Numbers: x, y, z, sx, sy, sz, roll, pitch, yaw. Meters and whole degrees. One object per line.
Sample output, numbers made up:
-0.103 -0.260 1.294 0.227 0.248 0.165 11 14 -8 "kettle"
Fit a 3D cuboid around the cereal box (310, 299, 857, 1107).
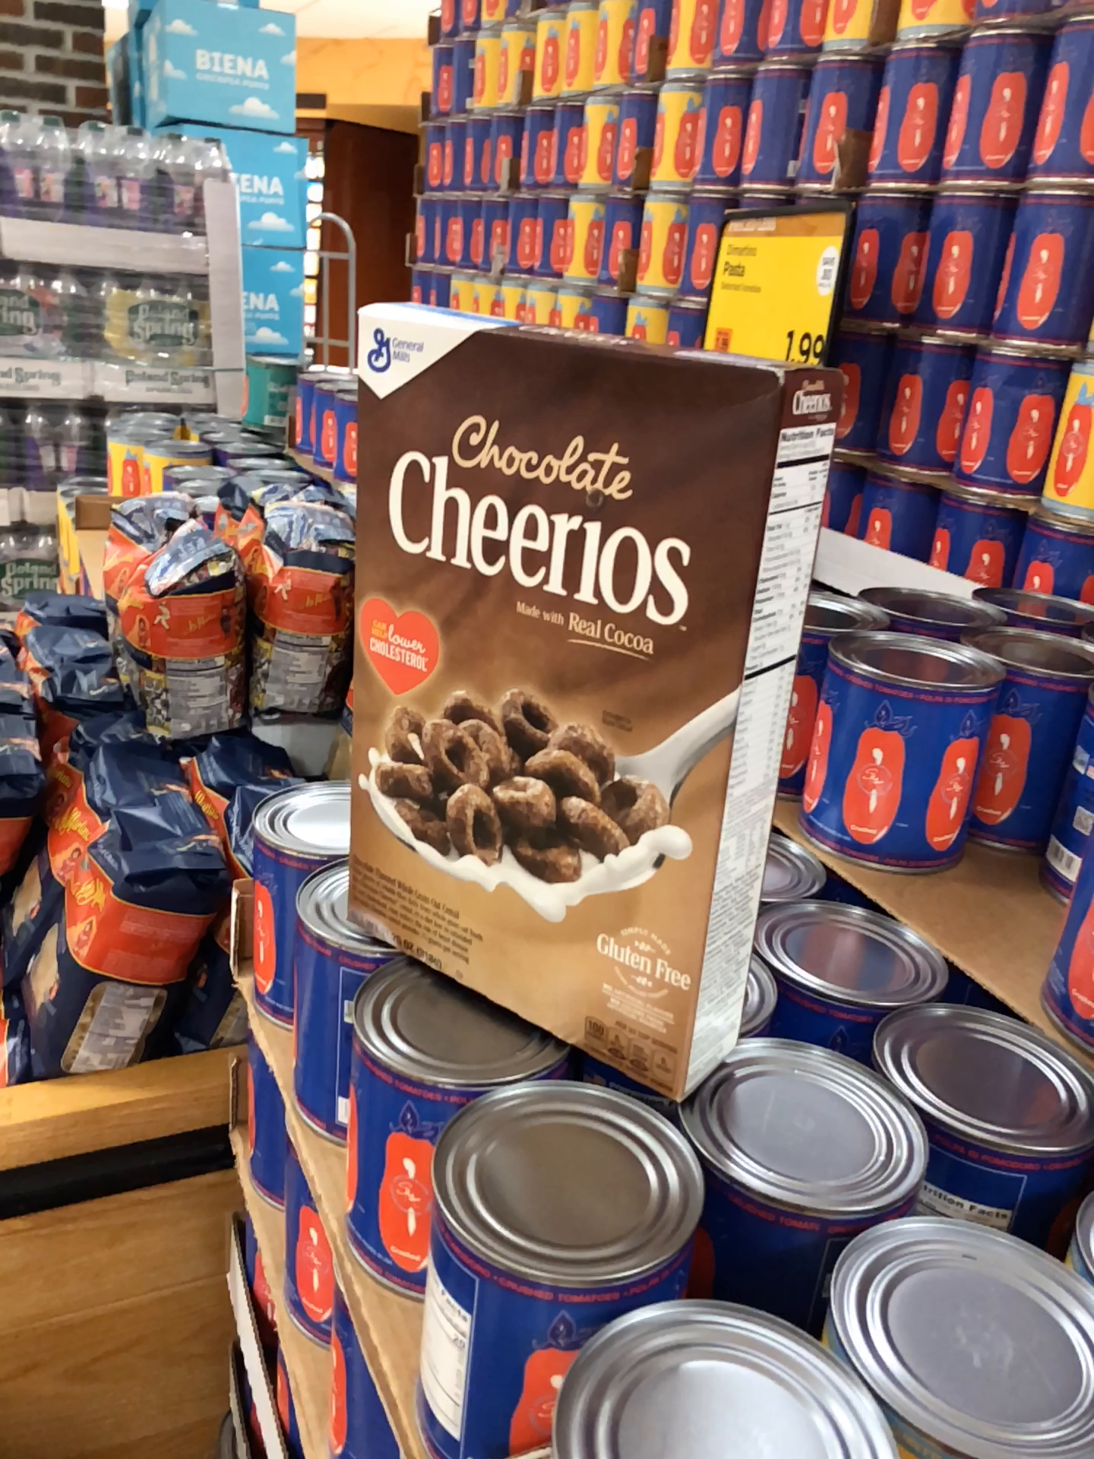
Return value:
-0.005 -0.020 0.494 0.210 0.278 0.050 20 25 34 "cereal box"
